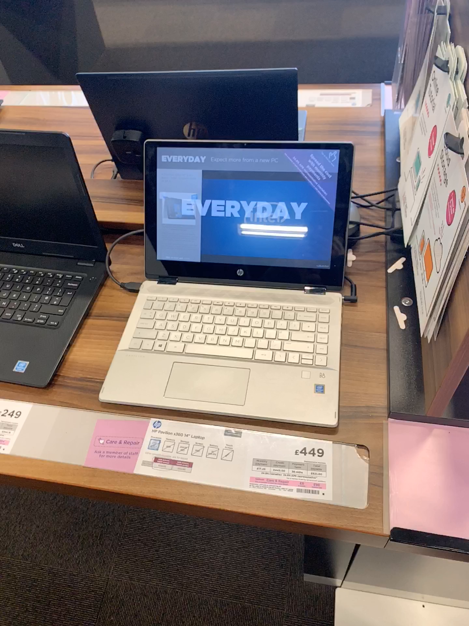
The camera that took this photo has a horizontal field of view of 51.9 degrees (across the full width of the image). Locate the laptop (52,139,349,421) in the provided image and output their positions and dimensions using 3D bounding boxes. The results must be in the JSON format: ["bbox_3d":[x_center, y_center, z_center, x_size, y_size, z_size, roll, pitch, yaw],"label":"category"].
[{"bbox_3d":[-0.012,-0.069,0.669,0.313,0.154,0.363,4,52,10],"label":"laptop"}]
